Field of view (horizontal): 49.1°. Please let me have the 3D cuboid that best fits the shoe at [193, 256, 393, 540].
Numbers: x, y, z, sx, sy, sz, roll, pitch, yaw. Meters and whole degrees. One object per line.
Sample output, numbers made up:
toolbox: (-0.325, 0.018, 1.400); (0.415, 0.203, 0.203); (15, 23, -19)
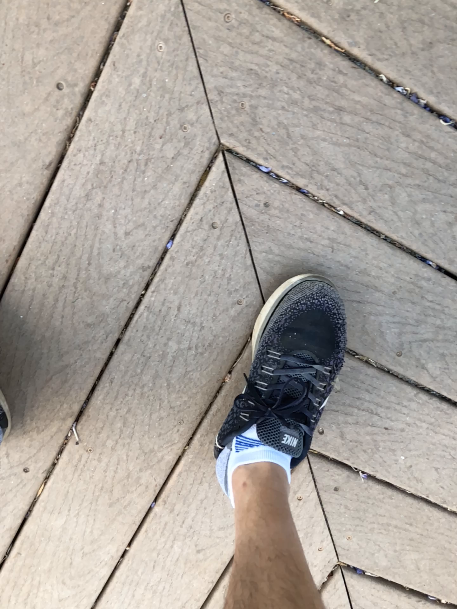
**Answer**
shoe: (0.066, 0.109, 0.604); (0.130, 0.100, 0.300); (16, 99, -9)
